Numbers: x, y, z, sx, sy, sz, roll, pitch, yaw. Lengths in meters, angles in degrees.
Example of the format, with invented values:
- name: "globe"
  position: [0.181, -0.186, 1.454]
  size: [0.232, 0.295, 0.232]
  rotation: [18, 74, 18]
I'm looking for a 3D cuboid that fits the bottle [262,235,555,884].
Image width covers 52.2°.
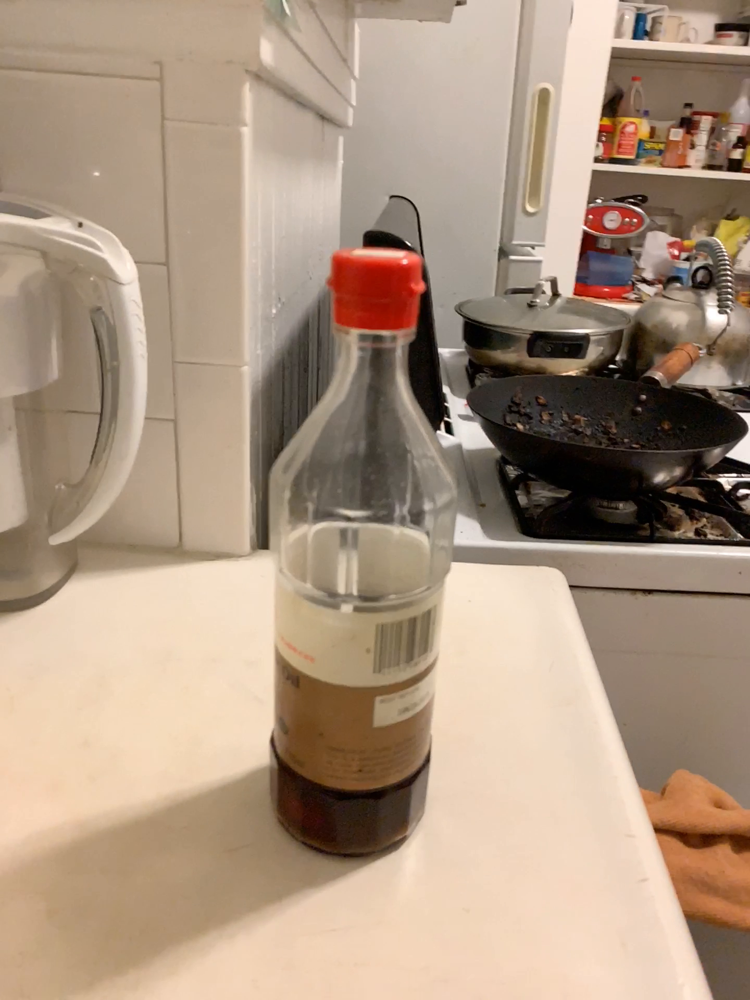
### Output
- name: "bottle"
  position: [-0.002, 0.031, 0.326]
  size: [0.090, 0.259, 0.091]
  rotation: [3, 24, -1]
